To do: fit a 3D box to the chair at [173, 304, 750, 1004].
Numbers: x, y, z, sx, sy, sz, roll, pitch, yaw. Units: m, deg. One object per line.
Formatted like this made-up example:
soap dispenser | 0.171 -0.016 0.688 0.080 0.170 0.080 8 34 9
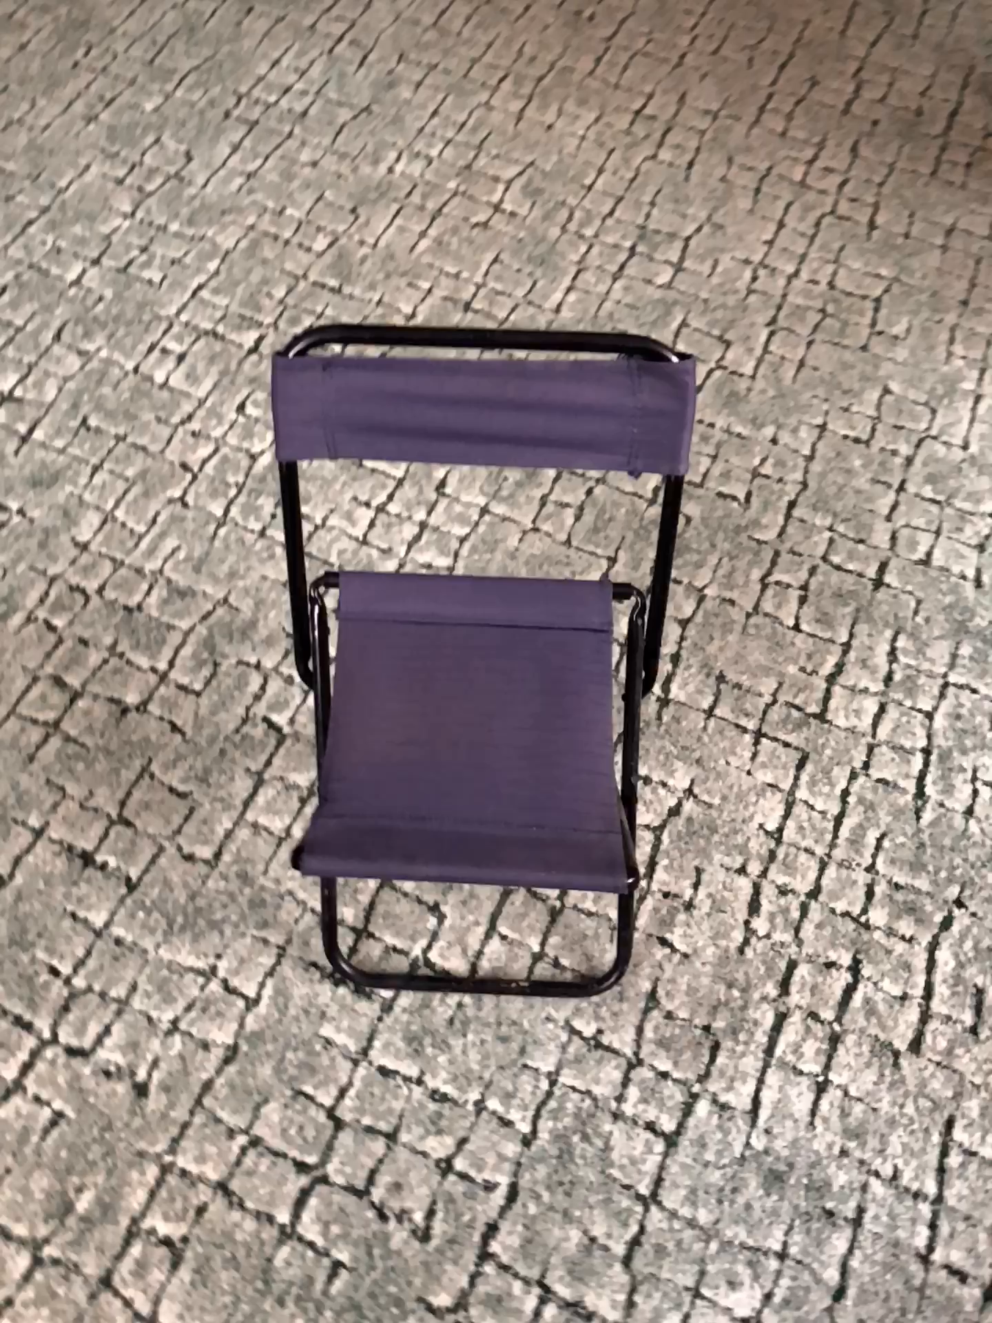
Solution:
chair | -0.020 0.036 0.976 0.341 0.537 0.400 2 60 0
